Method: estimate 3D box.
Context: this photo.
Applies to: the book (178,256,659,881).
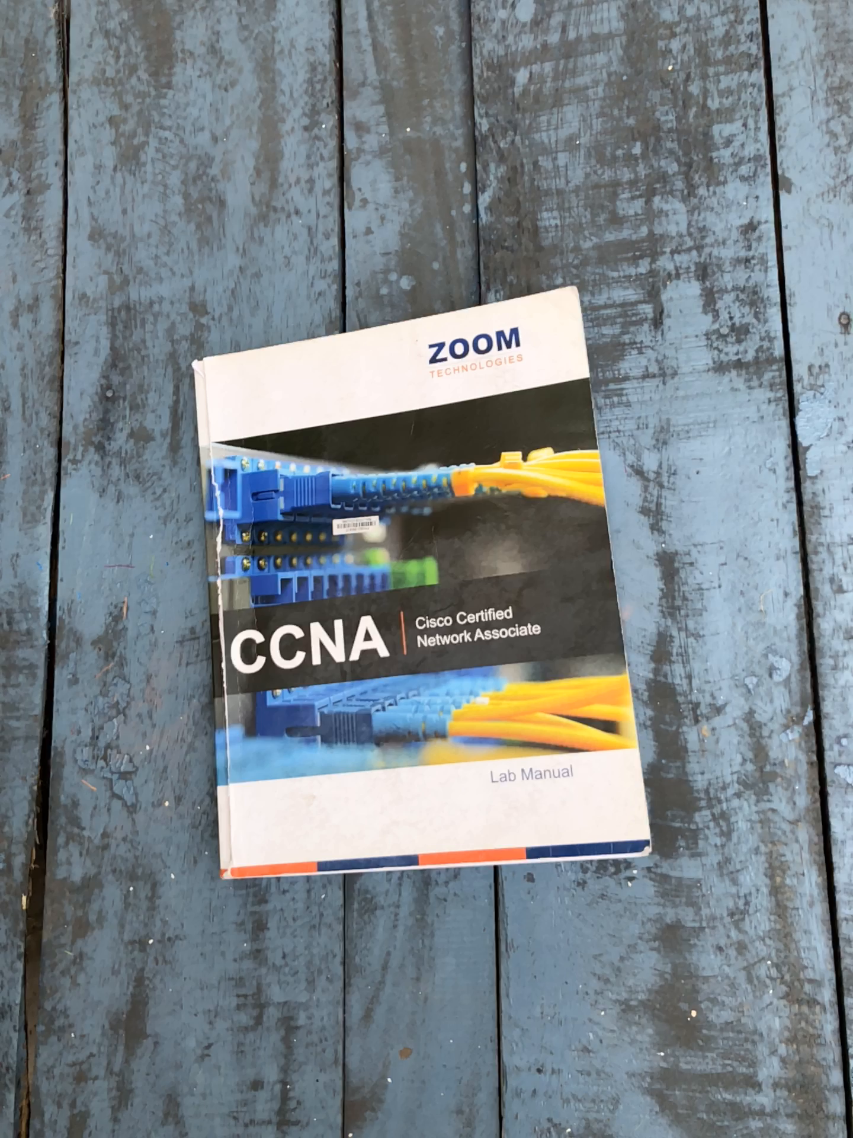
[{"bbox_3d":[-0.012,0.001,0.437,0.200,0.030,0.260,-8,78,12],"label":"book"}]
